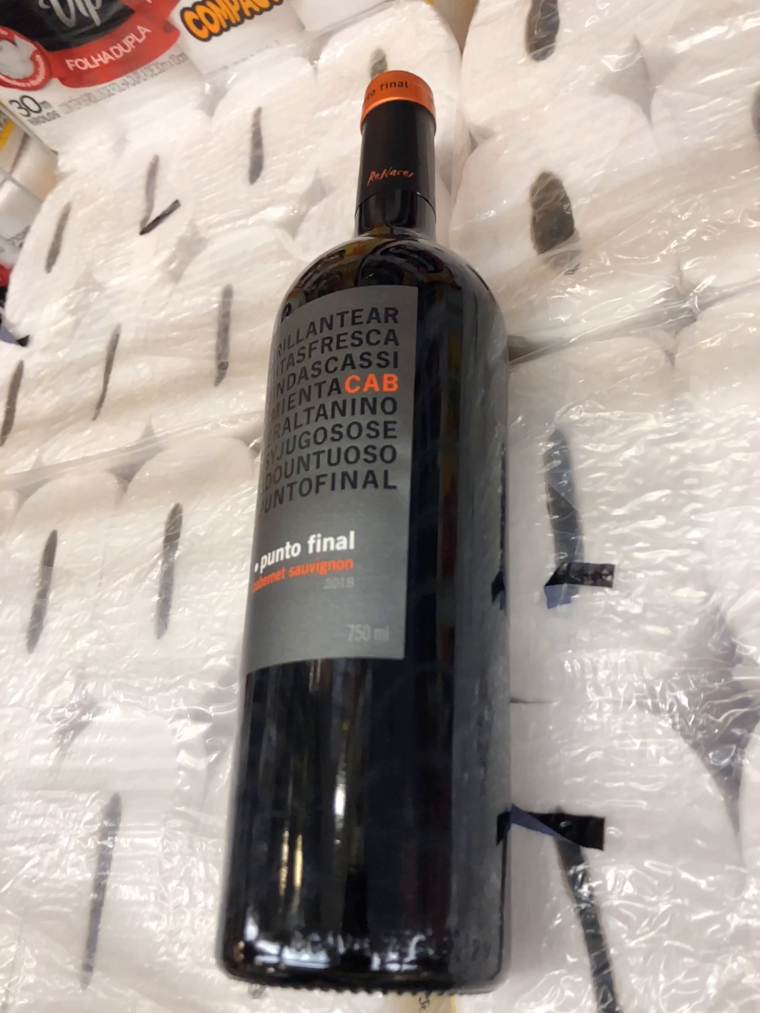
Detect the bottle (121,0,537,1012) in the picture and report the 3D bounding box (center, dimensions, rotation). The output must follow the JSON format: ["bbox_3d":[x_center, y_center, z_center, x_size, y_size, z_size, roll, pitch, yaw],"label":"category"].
[{"bbox_3d":[-0.002,-0.030,0.255,0.070,0.060,0.311,-12,59,27],"label":"bottle"}]
